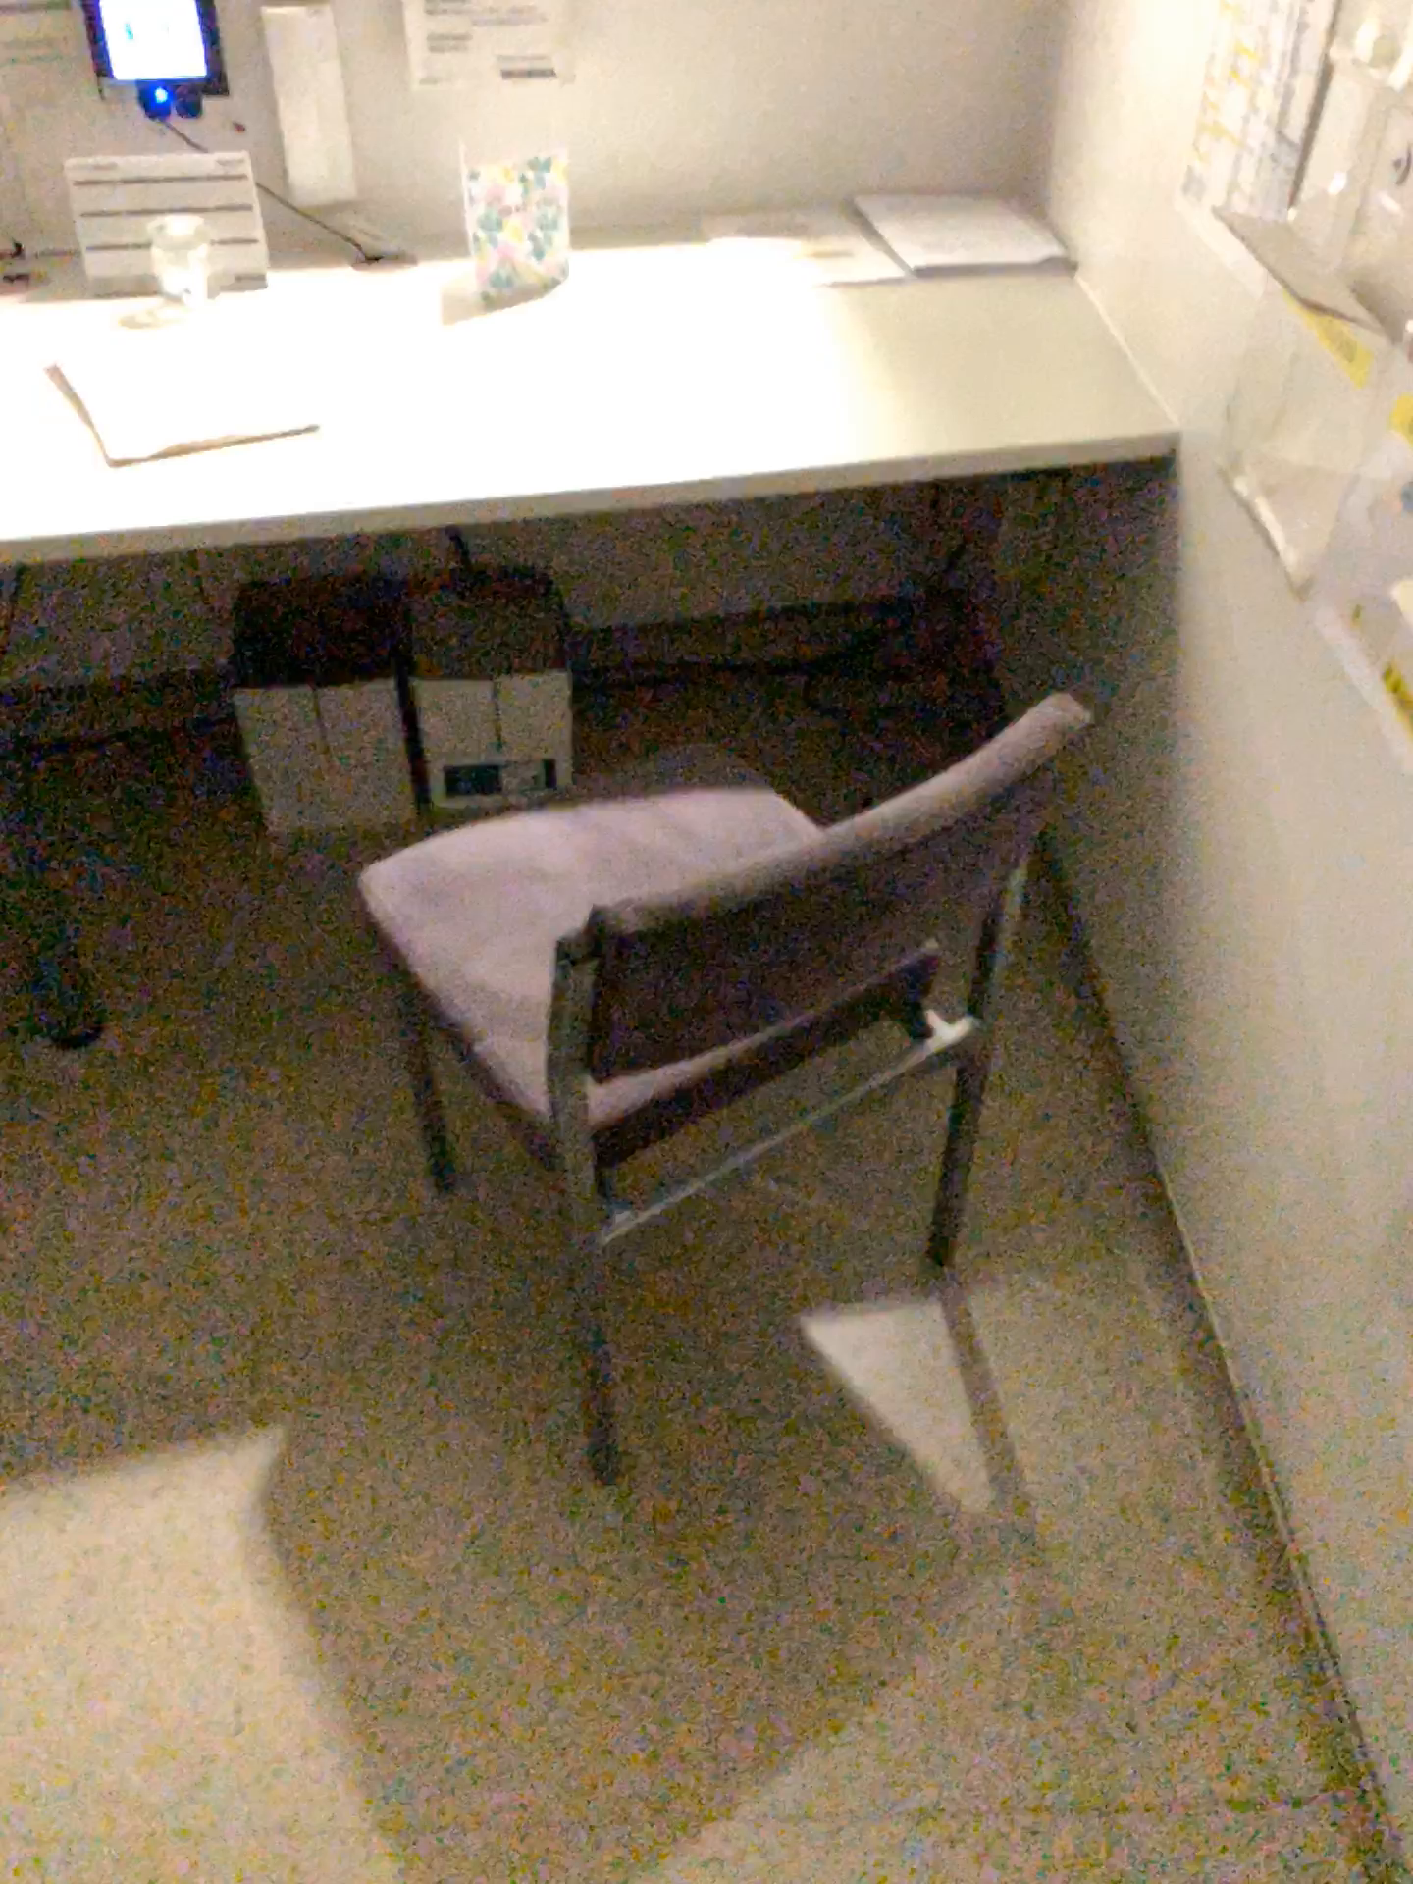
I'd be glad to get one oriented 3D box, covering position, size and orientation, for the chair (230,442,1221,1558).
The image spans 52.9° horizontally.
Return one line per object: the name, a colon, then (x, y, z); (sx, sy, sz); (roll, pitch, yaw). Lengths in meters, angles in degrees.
chair: (-0.009, 0.031, 1.305); (0.542, 0.693, 0.544); (-23, 47, -25)
